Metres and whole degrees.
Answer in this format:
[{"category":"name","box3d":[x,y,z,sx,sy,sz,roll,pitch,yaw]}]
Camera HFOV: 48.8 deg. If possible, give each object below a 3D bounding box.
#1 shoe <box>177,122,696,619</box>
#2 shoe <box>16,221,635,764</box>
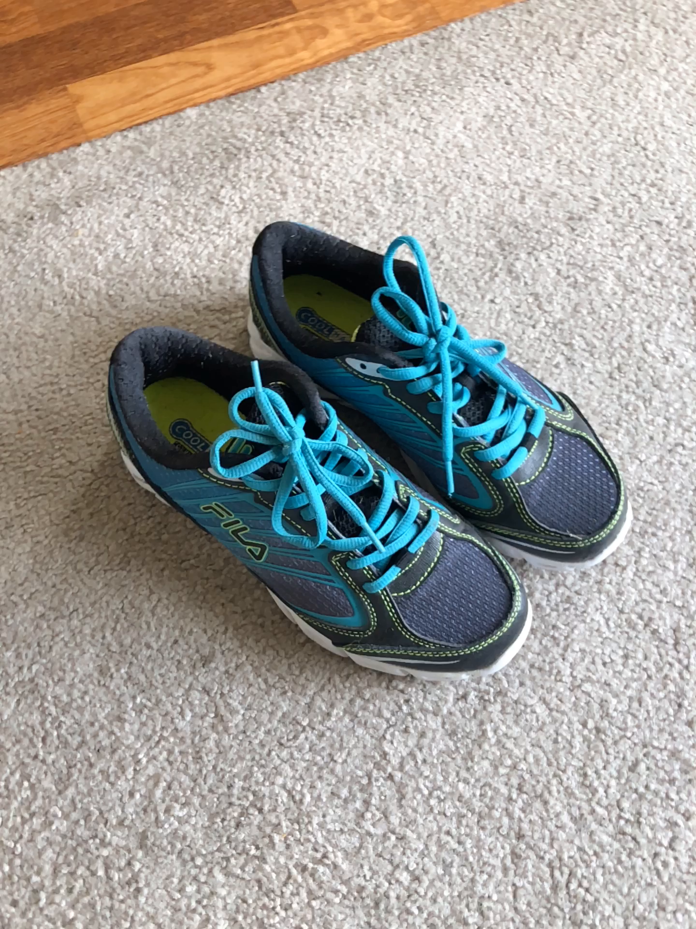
[{"category":"shoe","box3d":[0.052,-0.051,0.428,0.275,0.119,0.102,35,71,15]},{"category":"shoe","box3d":[-0.018,0.014,0.395,0.271,0.119,0.105,36,68,15]}]
